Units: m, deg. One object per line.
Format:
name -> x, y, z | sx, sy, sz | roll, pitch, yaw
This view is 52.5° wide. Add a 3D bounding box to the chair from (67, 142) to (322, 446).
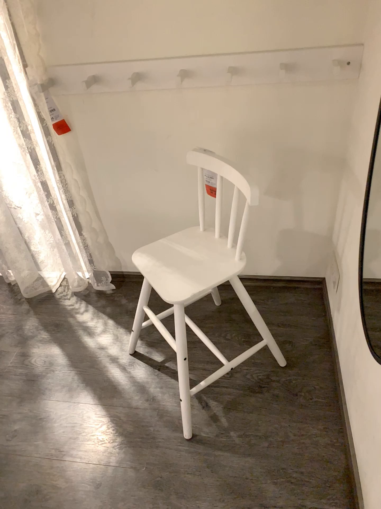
chair -> 0.022, 0.105, 1.190 | 0.480, 0.657, 0.452 | -27, 43, -23
